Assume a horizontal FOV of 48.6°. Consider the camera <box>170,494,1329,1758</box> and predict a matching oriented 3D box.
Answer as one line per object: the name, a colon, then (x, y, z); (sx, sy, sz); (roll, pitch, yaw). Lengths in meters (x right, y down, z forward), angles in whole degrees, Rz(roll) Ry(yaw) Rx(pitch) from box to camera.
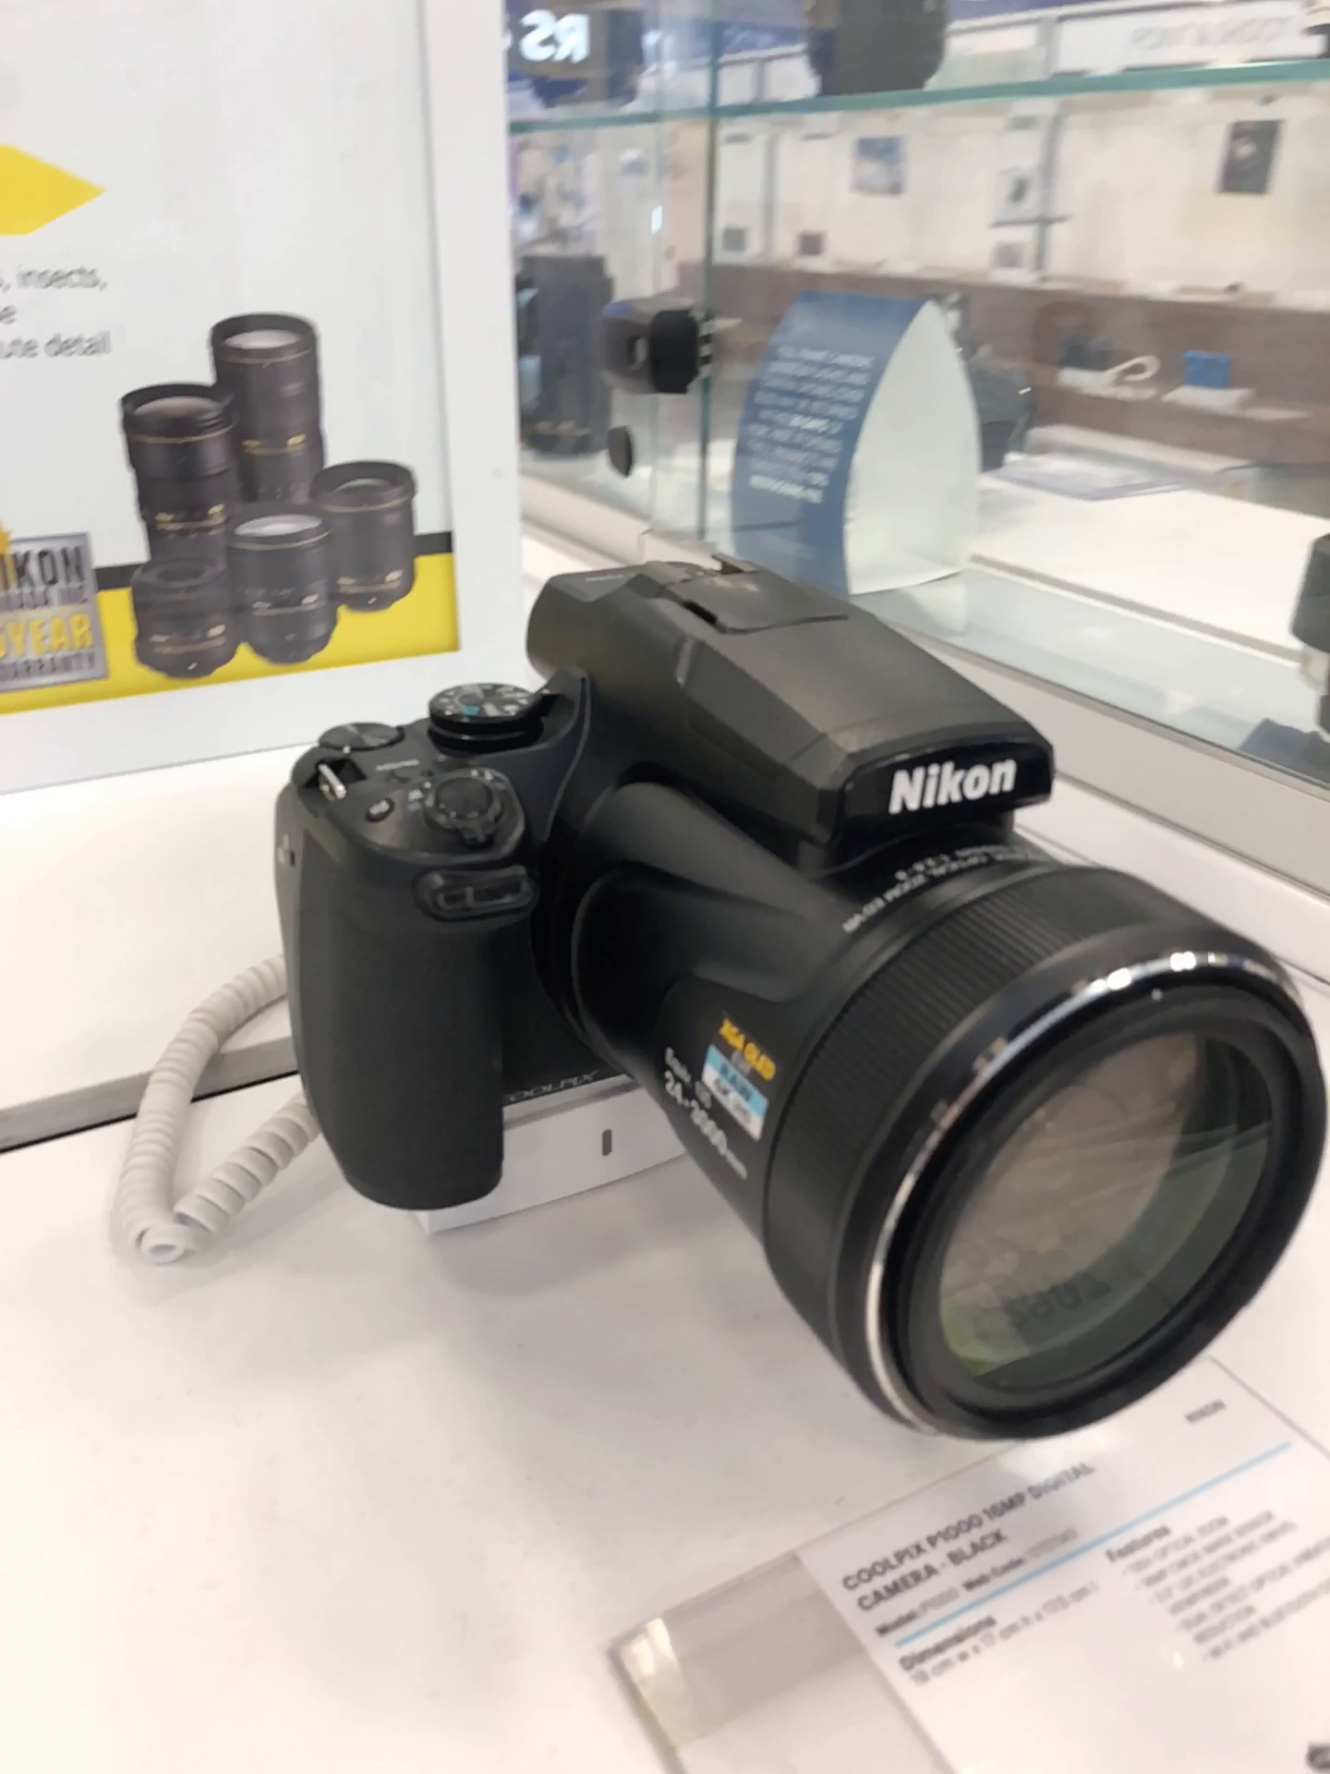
camera: (0.019, 0.006, 0.270); (0.160, 0.110, 0.191); (-13, 28, -26)
